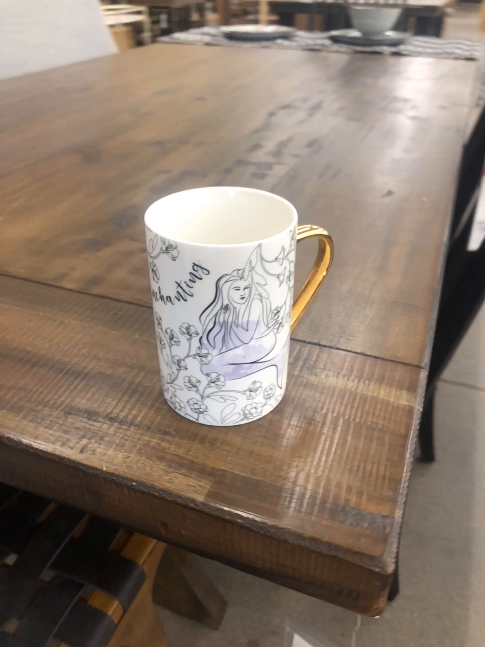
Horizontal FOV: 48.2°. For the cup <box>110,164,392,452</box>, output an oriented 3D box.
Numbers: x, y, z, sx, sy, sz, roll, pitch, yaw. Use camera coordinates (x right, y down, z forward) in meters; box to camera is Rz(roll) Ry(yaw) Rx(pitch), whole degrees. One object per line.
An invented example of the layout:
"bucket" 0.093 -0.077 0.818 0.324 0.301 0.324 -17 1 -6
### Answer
"cup" 0.004 -0.016 0.312 0.122 0.111 0.083 -20 38 -27
